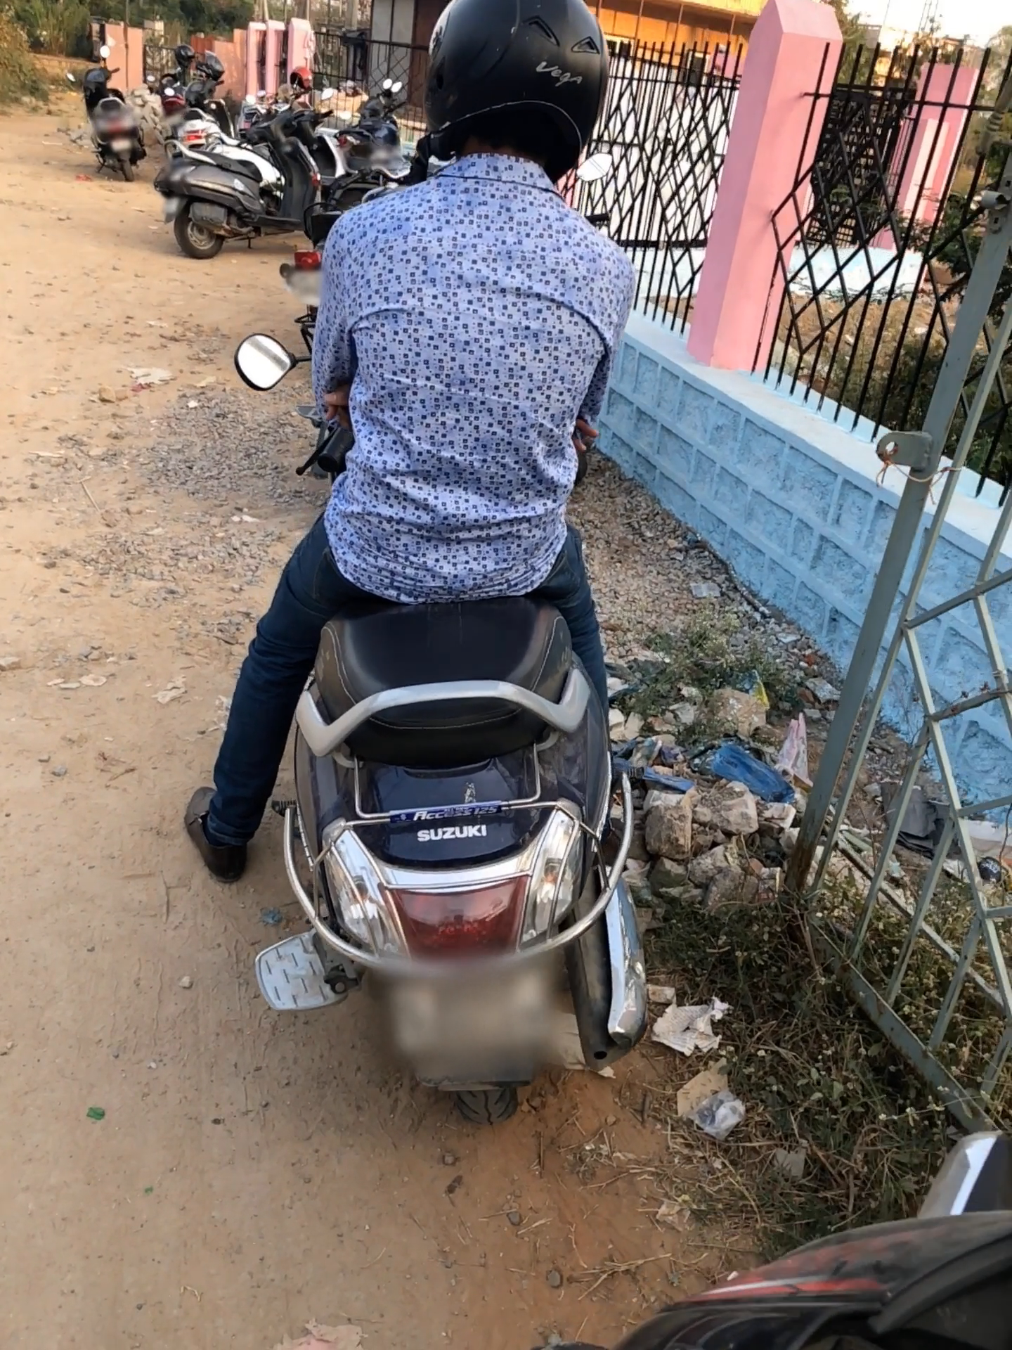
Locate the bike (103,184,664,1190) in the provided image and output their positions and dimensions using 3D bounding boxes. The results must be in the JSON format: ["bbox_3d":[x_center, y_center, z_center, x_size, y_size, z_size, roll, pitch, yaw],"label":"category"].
[{"bbox_3d":[-0.375,-0.107,1.970,0.593,1.013,1.400,0,33,-16],"label":"bike"}]
